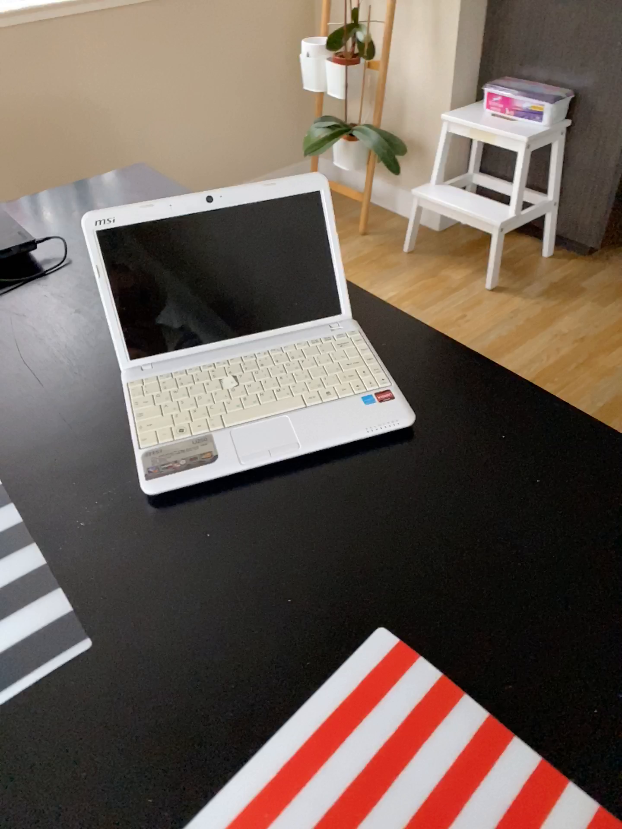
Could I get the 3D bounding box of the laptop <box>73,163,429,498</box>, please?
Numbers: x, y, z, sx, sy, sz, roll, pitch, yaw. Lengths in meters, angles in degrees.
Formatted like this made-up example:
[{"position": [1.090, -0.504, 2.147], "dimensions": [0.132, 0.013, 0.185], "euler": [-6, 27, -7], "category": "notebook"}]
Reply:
[{"position": [-0.077, -0.114, 0.695], "dimensions": [0.294, 0.153, 0.302], "euler": [-14, 46, -12], "category": "laptop"}]
